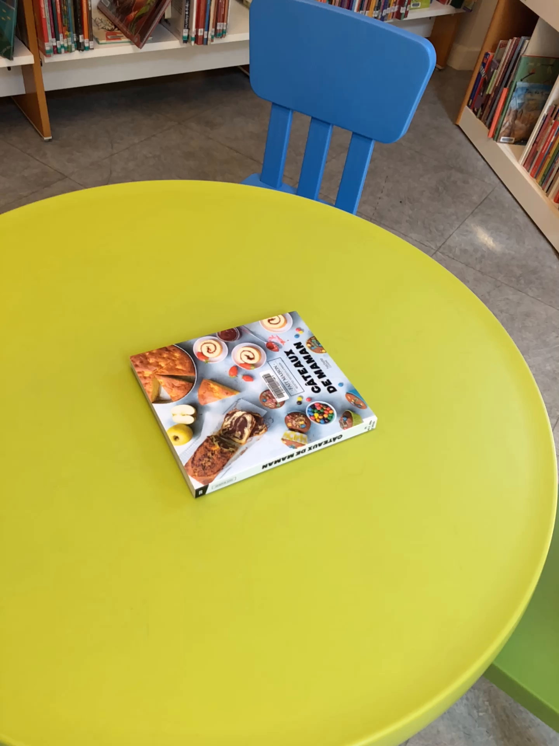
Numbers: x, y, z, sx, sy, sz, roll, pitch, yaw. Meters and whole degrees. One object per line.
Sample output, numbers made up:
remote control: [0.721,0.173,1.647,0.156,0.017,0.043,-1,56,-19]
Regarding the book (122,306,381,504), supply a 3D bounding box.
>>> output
book: [-0.035,0.022,0.697,0.229,0.021,0.200,-17,54,-24]
